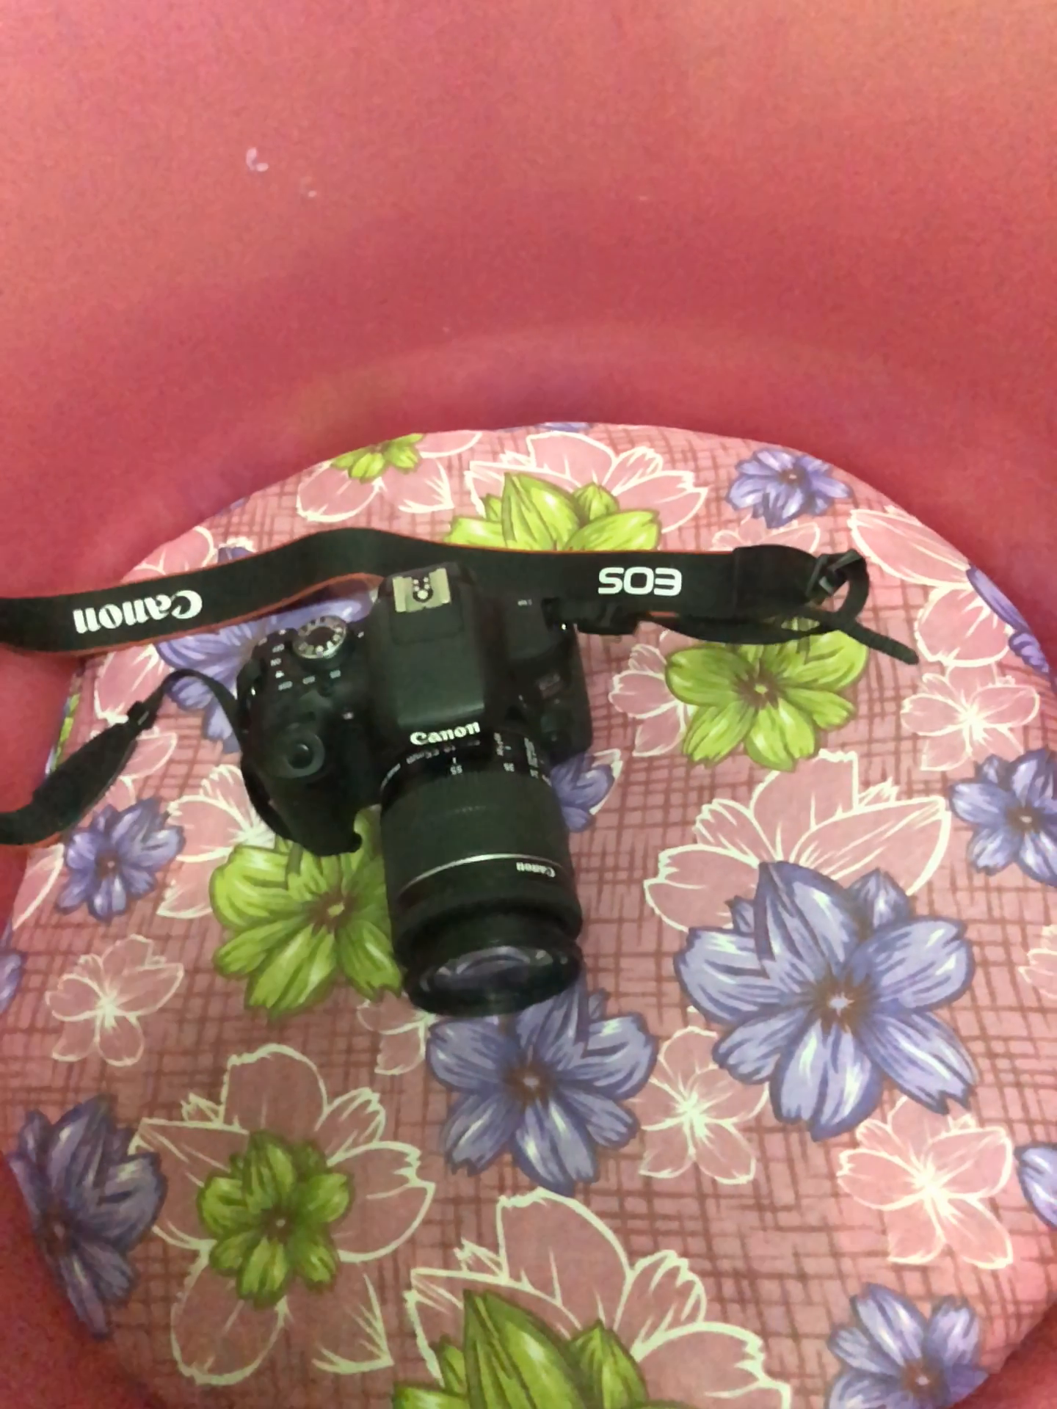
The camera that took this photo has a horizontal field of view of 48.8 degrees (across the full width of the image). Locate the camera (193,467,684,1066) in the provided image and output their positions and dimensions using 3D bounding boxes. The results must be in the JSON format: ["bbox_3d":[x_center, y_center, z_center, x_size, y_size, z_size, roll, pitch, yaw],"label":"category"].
[{"bbox_3d":[-0.032,0.022,0.411,0.140,0.100,0.161,-11,58,1],"label":"camera"}]
